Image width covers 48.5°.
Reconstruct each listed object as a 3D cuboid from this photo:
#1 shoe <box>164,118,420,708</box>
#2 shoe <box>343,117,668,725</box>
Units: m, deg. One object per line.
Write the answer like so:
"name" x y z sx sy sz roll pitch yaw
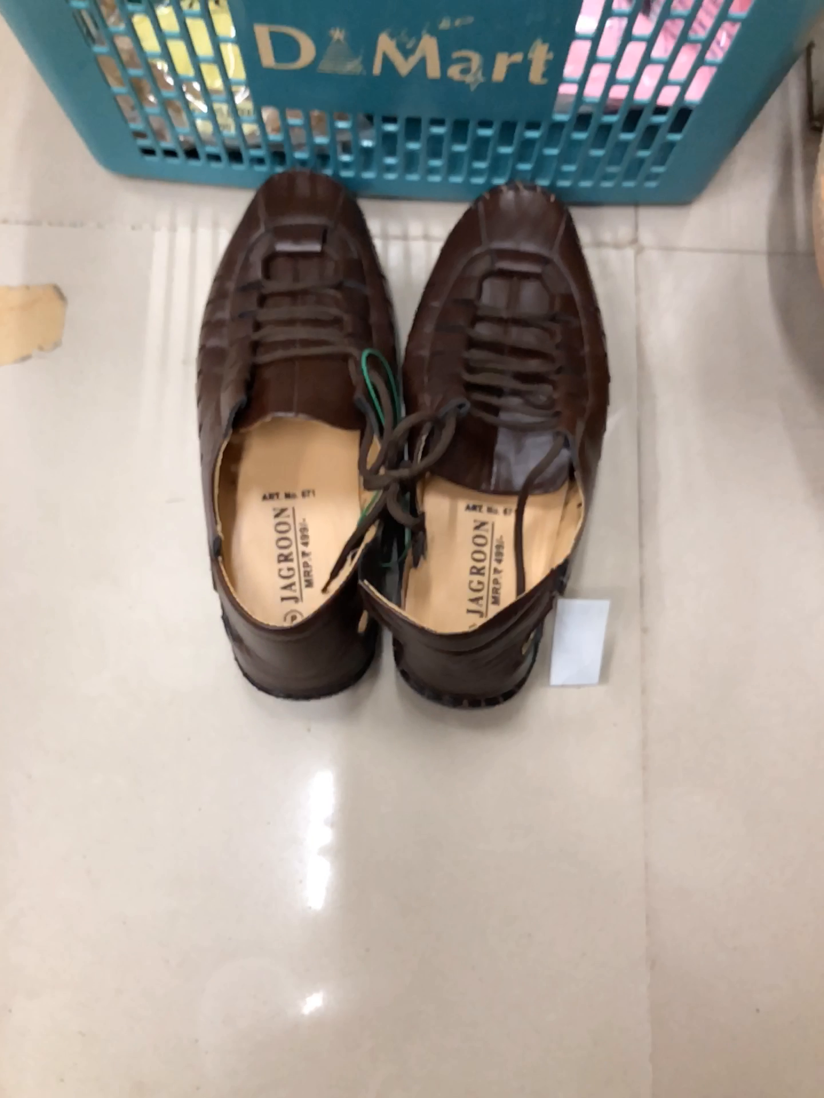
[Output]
"shoe" -0.057 -0.062 0.460 0.107 0.101 0.272 -2 78 -2
"shoe" 0.046 -0.058 0.461 0.112 0.101 0.272 9 78 0
